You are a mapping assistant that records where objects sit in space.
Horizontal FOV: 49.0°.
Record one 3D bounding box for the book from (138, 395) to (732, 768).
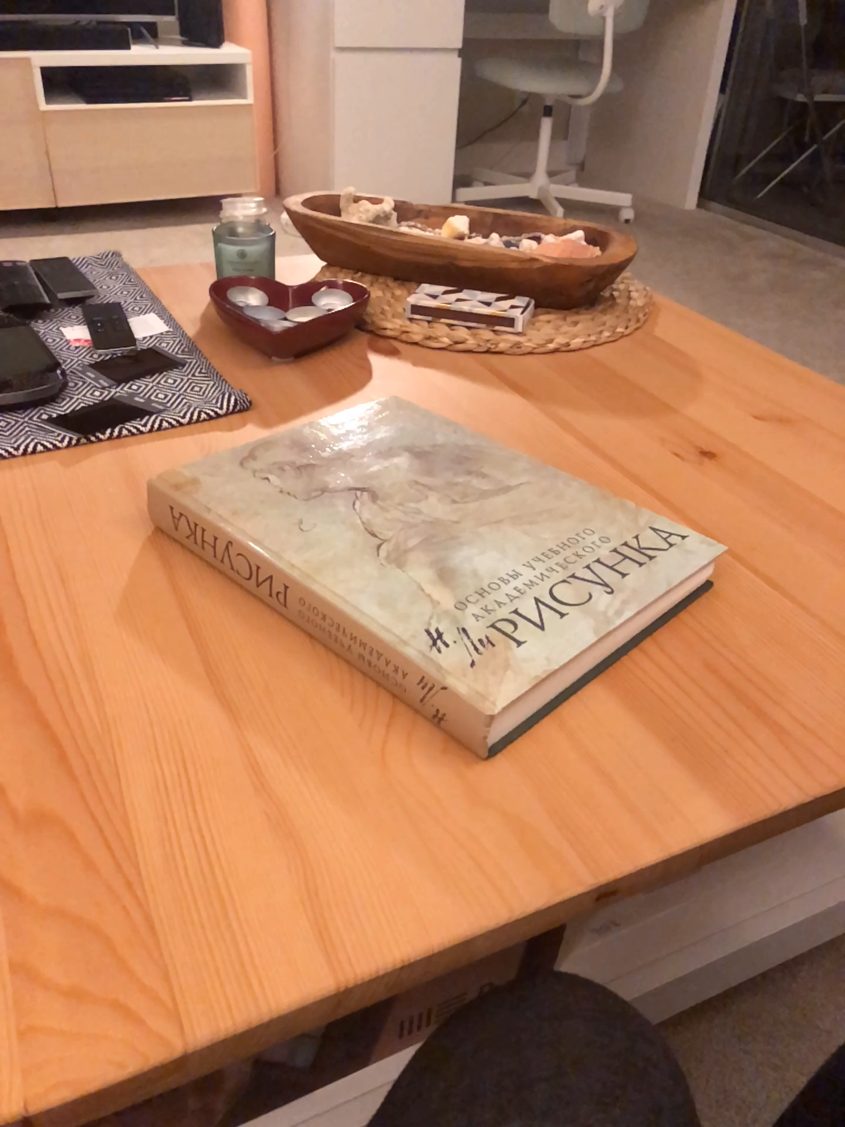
[{"bbox_3d":[0.004,-0.017,0.545,0.272,0.030,0.215,30,40,33],"label":"book"}]
